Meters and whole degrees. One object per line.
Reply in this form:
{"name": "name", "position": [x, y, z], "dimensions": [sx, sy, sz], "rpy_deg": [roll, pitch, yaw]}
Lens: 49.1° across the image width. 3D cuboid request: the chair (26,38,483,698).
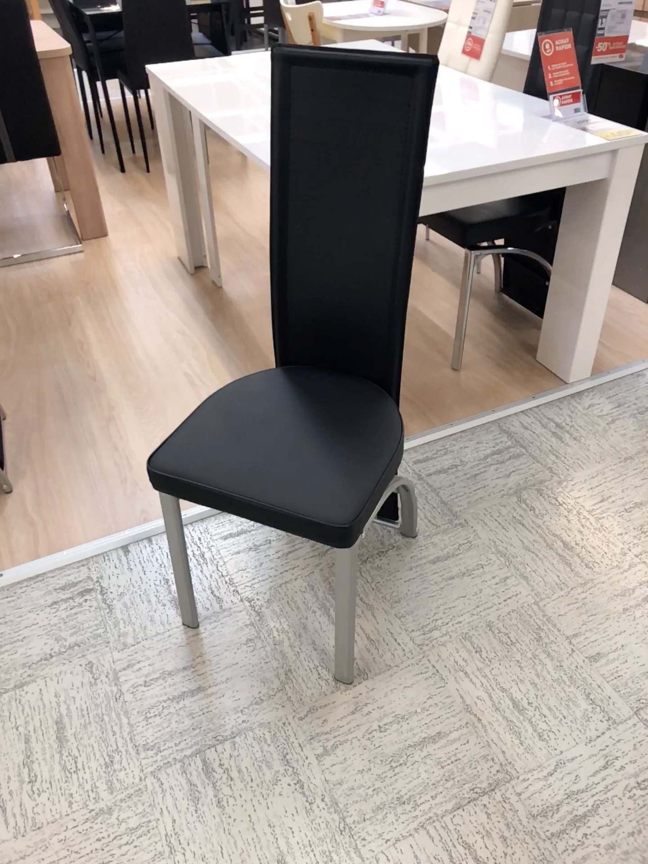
{"name": "chair", "position": [-0.049, -0.090, 1.285], "dimensions": [0.450, 1.014, 0.493], "rpy_deg": [14, 40, 20]}
